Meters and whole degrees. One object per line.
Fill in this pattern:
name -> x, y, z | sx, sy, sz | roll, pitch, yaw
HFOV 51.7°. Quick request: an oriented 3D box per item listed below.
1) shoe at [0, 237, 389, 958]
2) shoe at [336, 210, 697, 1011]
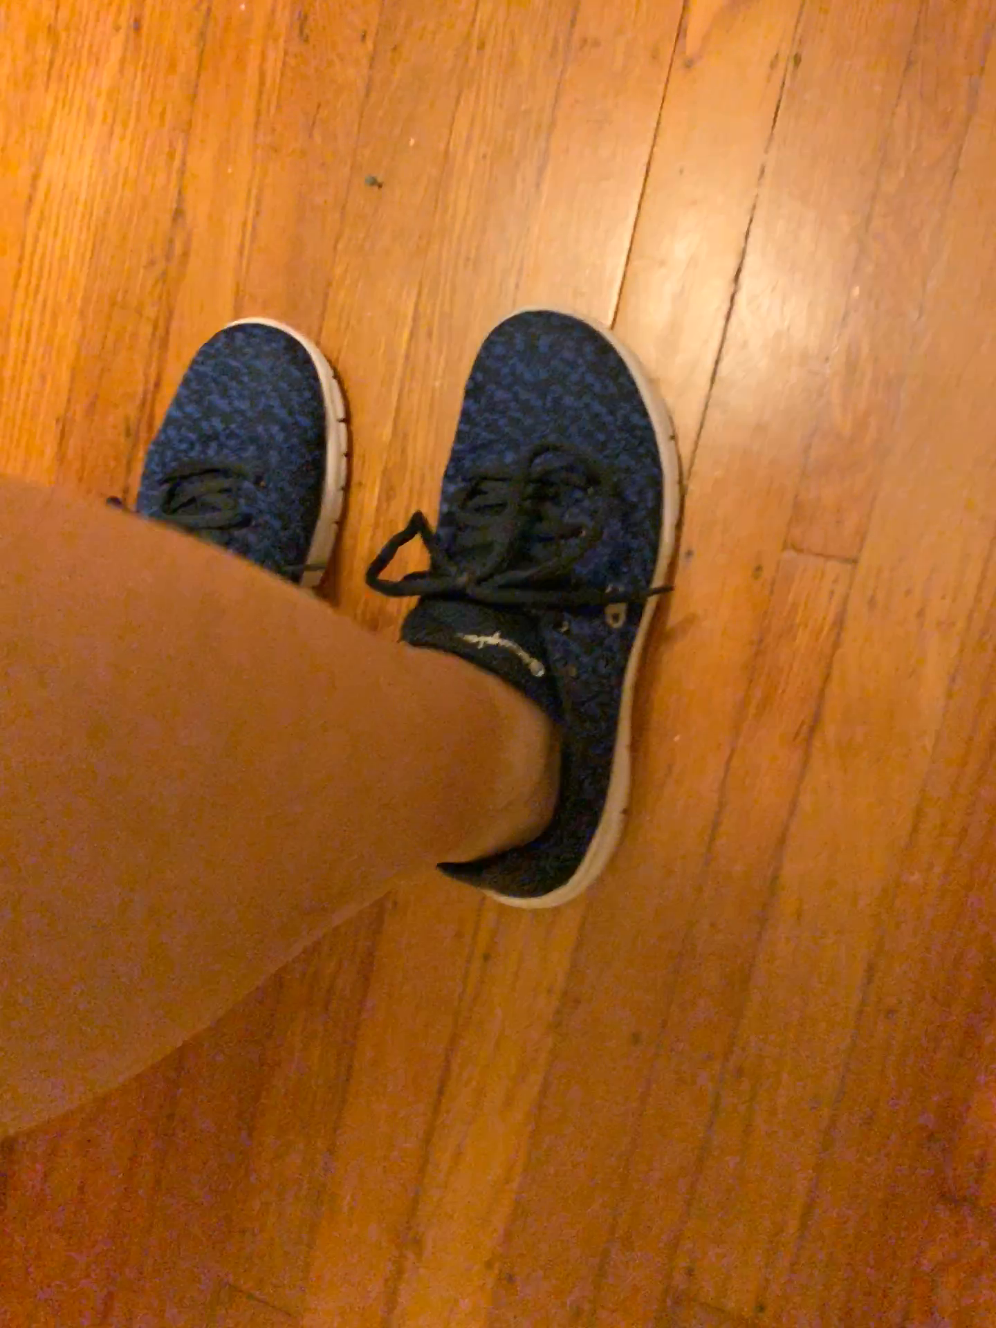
shoe -> -0.144, -0.031, 0.504 | 0.116, 0.150, 0.290 | 4, 94, 19
shoe -> 0.014, -0.020, 0.440 | 0.118, 0.130, 0.280 | 2, 93, 19
